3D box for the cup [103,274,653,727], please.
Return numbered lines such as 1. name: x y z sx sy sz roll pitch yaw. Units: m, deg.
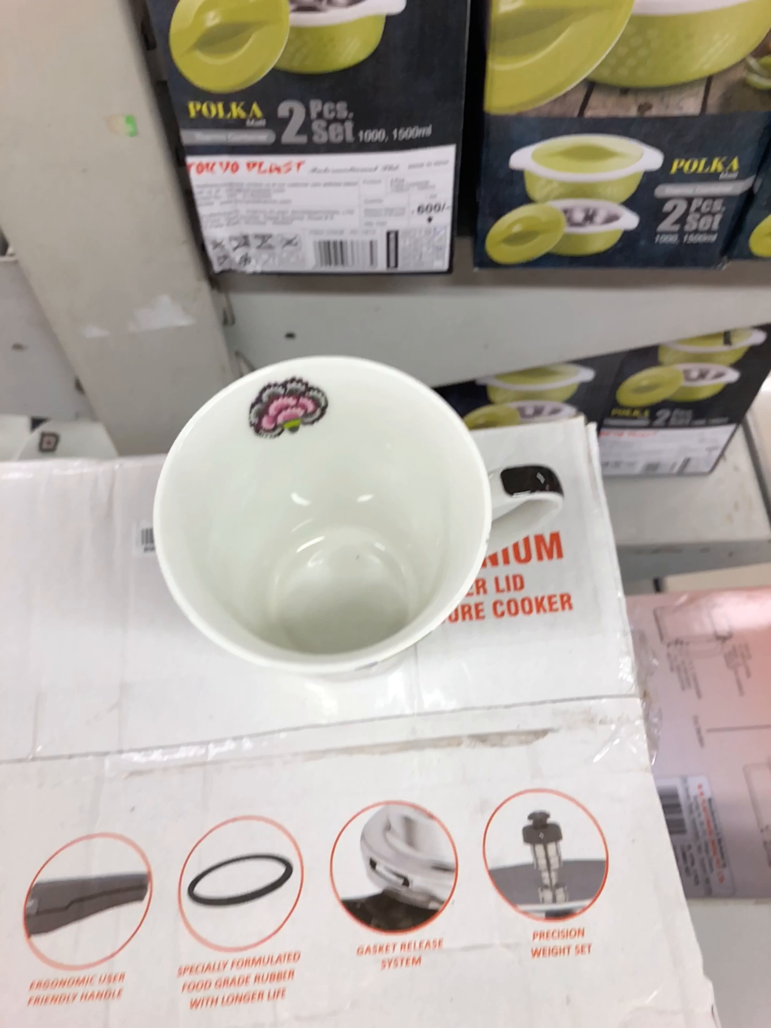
1. cup: -0.005 0.001 0.258 0.120 0.090 0.080 -16 71 -8
